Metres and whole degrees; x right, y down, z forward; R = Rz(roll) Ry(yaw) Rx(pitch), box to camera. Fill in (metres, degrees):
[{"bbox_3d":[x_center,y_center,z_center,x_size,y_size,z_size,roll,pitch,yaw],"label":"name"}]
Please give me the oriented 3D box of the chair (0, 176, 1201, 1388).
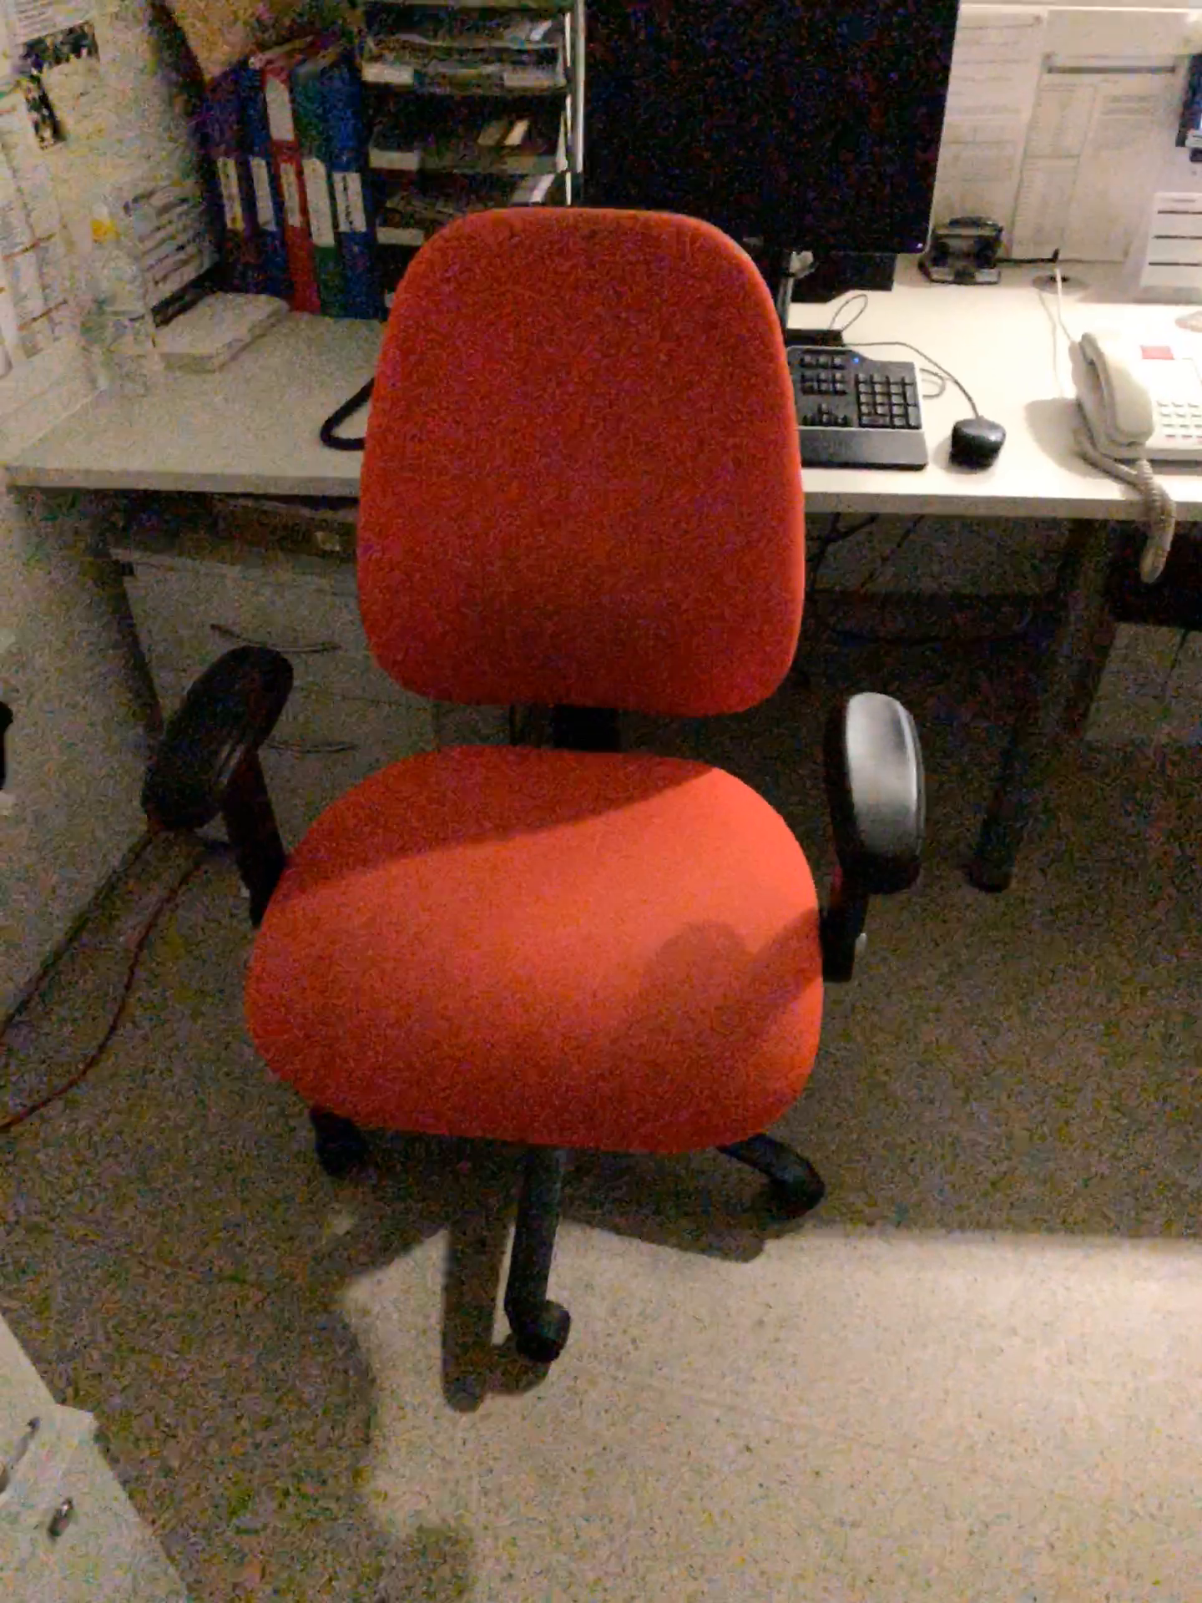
[{"bbox_3d":[-0.001,0.006,1.153,0.670,0.921,0.656,1,41,0],"label":"chair"}]
